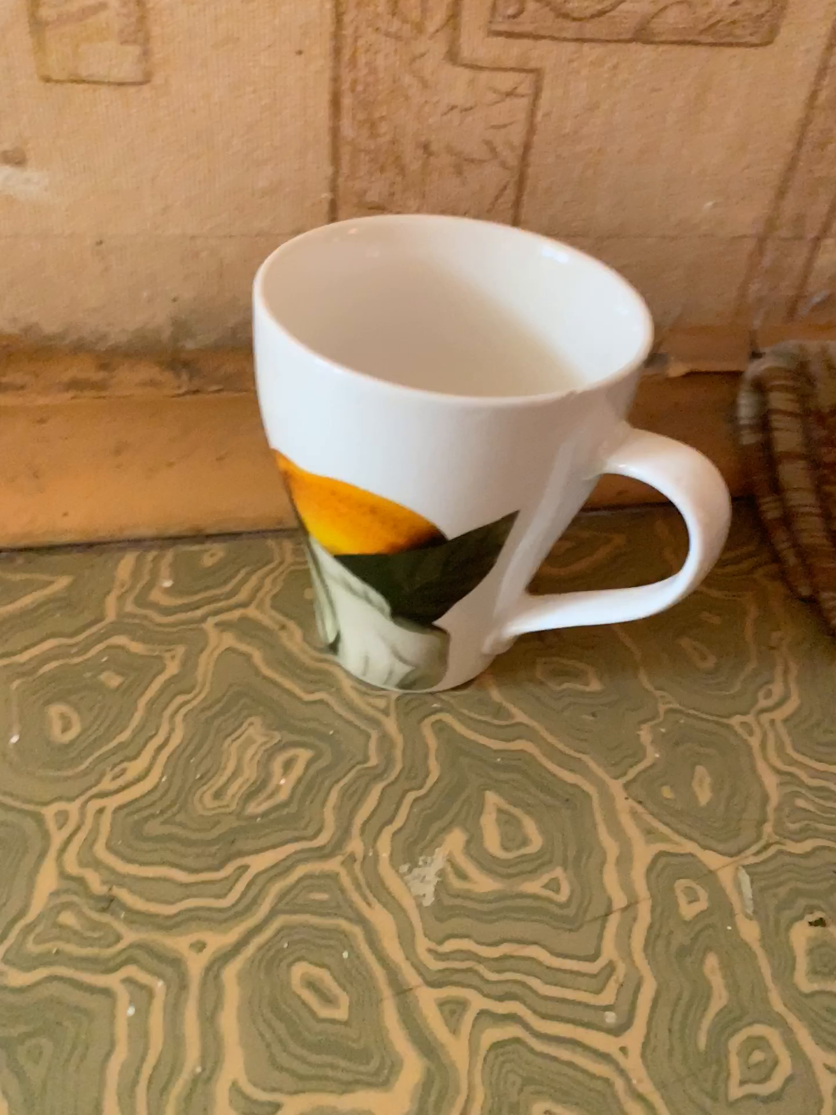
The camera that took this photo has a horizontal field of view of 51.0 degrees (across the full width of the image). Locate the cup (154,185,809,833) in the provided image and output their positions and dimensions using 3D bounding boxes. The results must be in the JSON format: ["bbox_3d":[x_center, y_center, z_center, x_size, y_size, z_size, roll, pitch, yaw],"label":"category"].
[{"bbox_3d":[0.014,-0.020,0.229,0.119,0.099,0.094,25,44,19],"label":"cup"}]
